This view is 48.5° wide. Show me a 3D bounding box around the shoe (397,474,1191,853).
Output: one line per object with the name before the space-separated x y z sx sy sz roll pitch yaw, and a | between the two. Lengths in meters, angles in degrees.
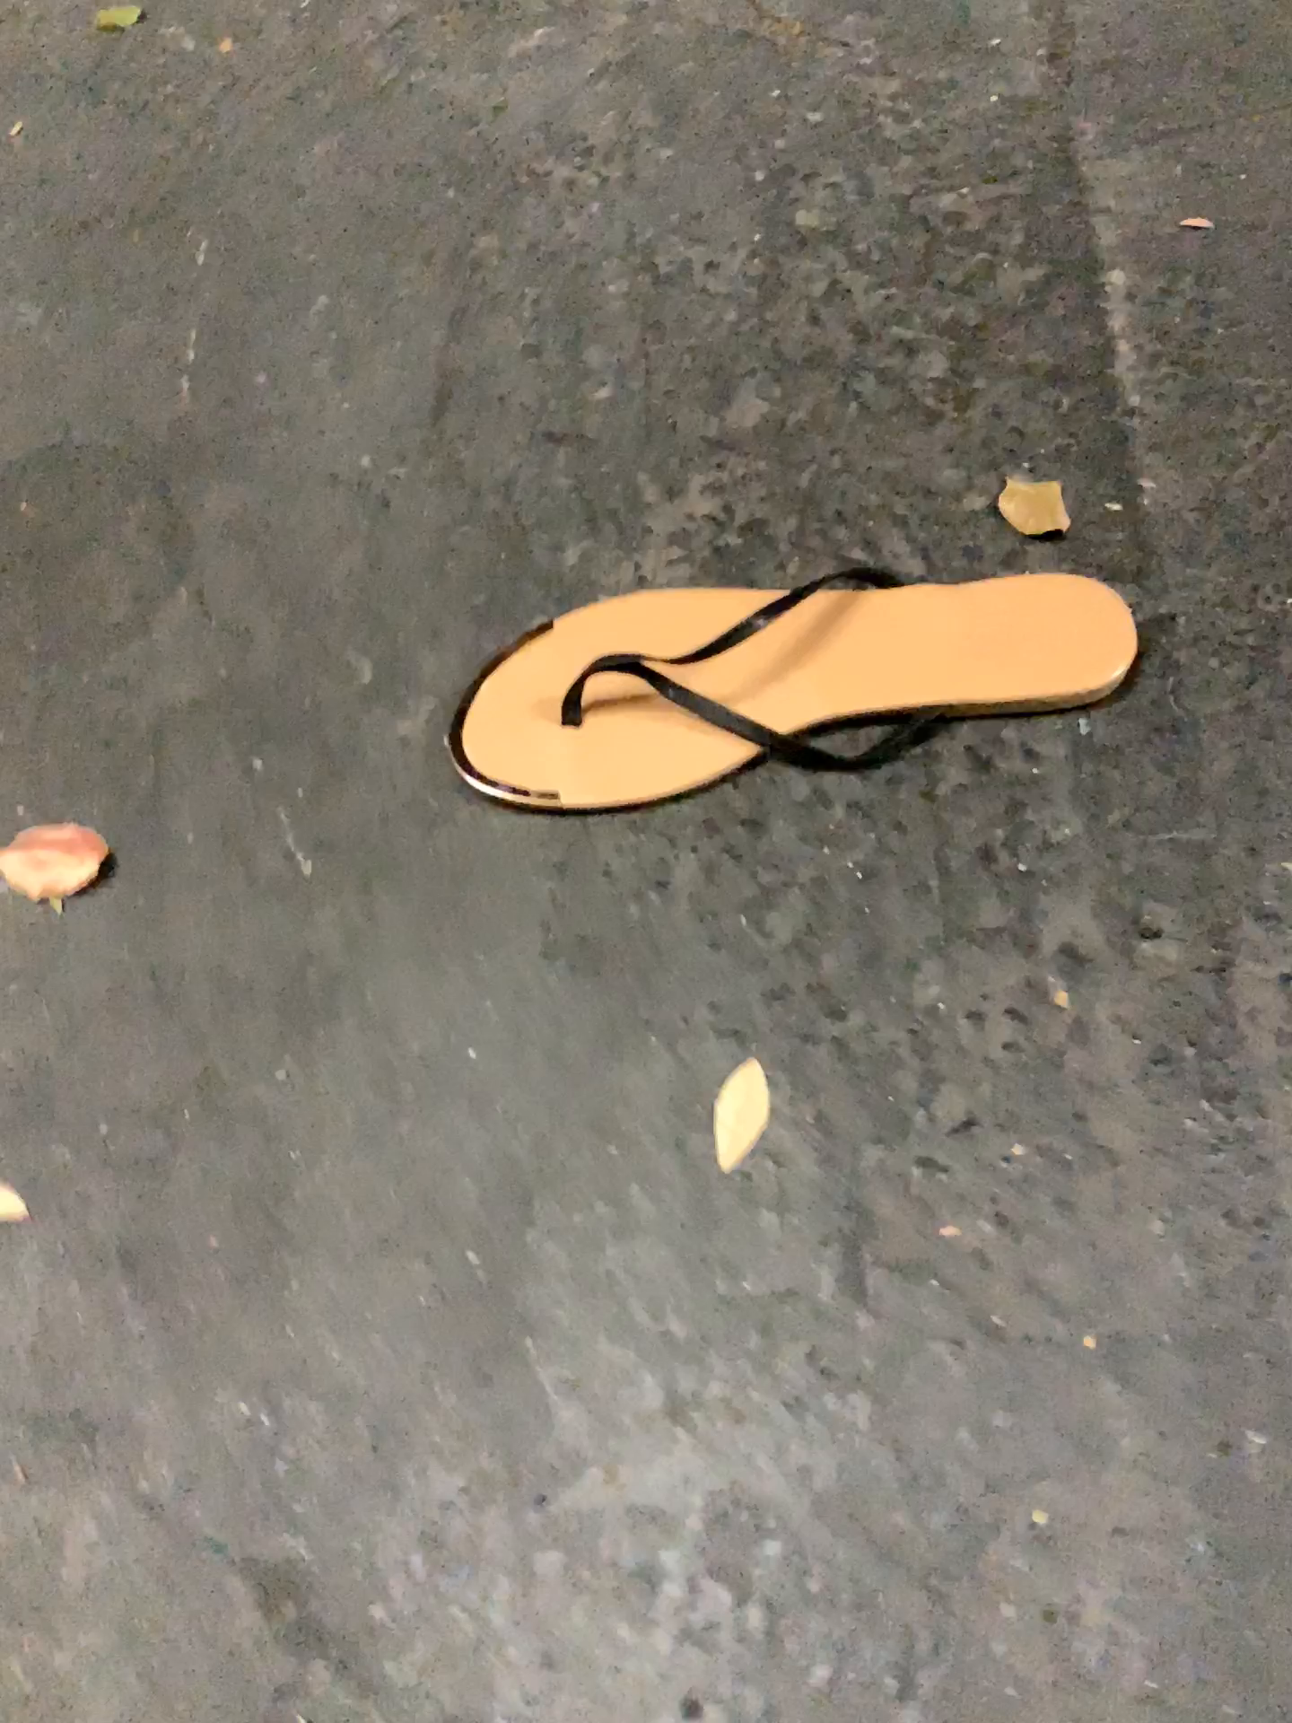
shoe | 0.051 -0.081 0.568 0.290 0.030 0.110 -9 58 0
